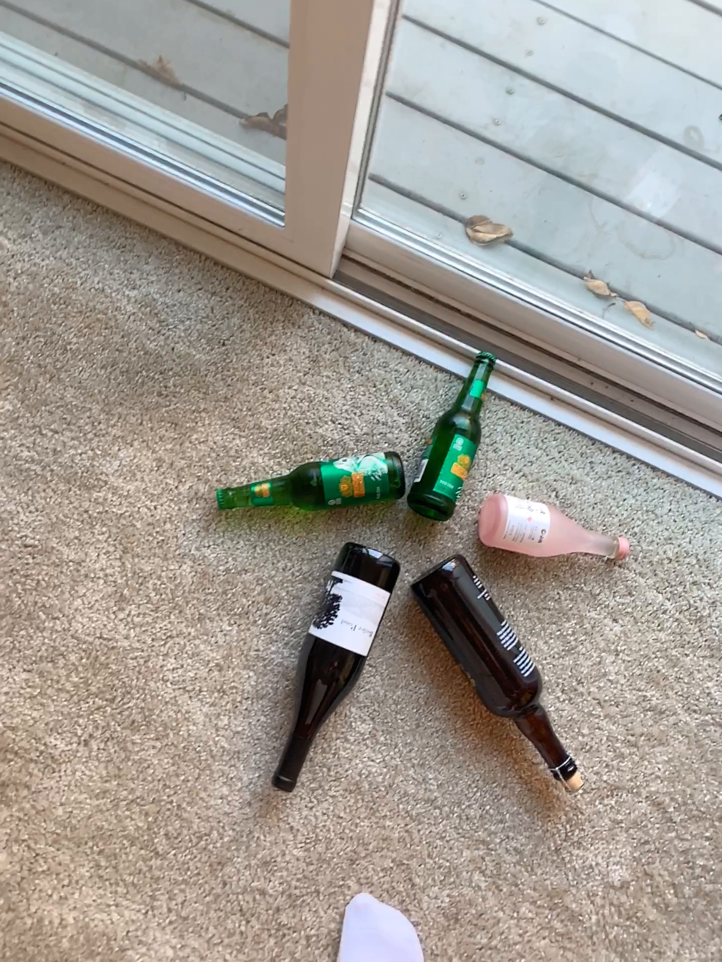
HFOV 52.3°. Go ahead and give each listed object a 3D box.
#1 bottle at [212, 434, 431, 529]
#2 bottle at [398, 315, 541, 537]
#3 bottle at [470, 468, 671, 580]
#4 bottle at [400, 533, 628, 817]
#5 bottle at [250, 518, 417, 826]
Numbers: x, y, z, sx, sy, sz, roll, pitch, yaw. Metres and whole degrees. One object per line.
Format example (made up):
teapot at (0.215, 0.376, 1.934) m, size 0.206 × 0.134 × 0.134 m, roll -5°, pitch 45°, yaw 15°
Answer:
bottle at (-0.049, 0.001, 0.871) m, size 0.240 × 0.090 × 0.070 m, roll -6°, pitch 79°, yaw -10°
bottle at (0.133, -0.065, 0.914) m, size 0.080 × 0.090 × 0.250 m, roll 22°, pitch 79°, yaw -2°
bottle at (0.251, 0.055, 0.898) m, size 0.210 × 0.090 × 0.080 m, roll 12°, pitch 77°, yaw -1°
bottle at (0.169, 0.219, 0.859) m, size 0.080 × 0.090 × 0.310 m, roll -31°, pitch 81°, yaw -12°
bottle at (-0.030, 0.207, 0.829) m, size 0.080 × 0.090 × 0.310 m, roll 20°, pitch 74°, yaw -2°
